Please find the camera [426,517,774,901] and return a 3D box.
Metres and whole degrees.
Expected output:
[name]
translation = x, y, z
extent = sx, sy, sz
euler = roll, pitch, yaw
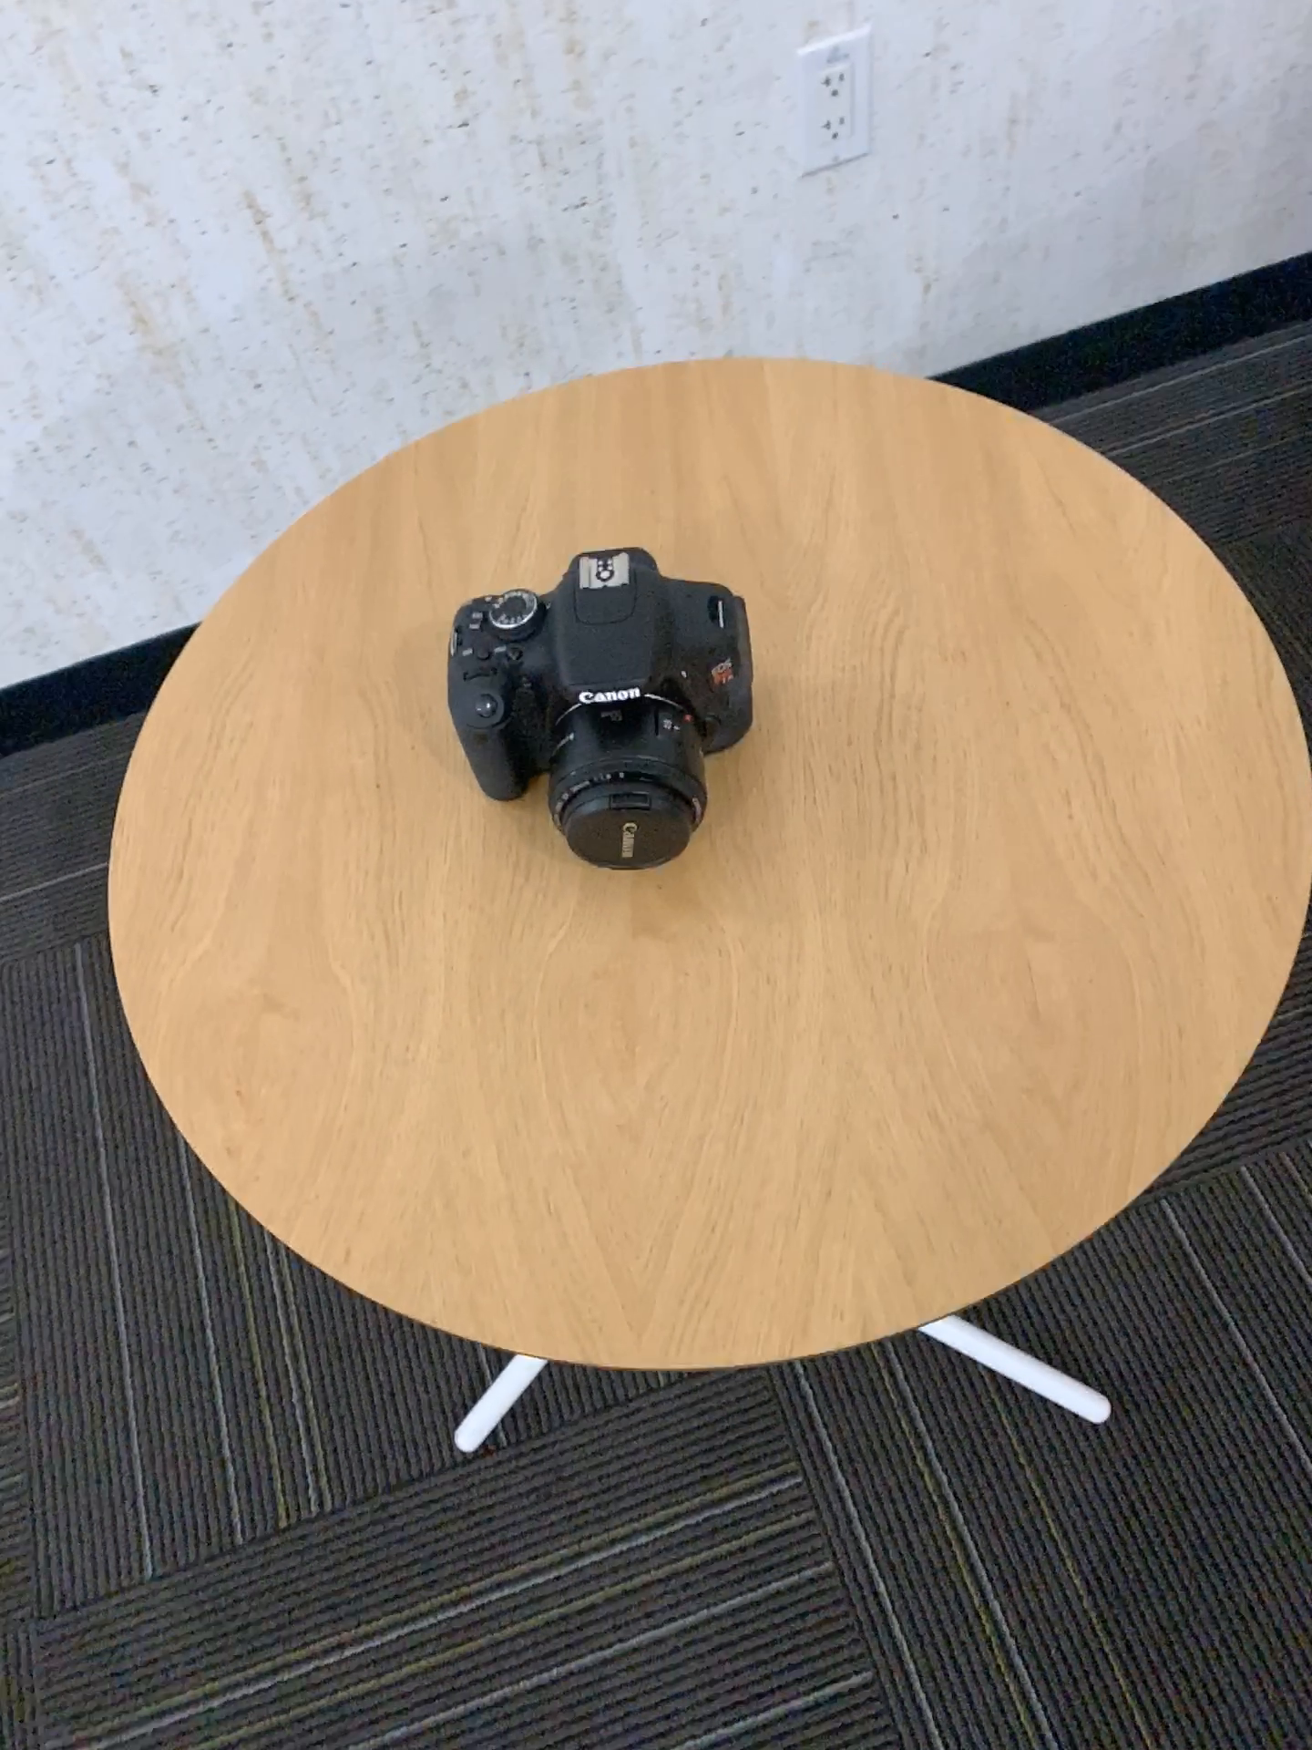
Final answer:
[camera]
translation = -0.020, -0.070, 0.583
extent = 0.130, 0.100, 0.117
euler = -5, 59, 5
